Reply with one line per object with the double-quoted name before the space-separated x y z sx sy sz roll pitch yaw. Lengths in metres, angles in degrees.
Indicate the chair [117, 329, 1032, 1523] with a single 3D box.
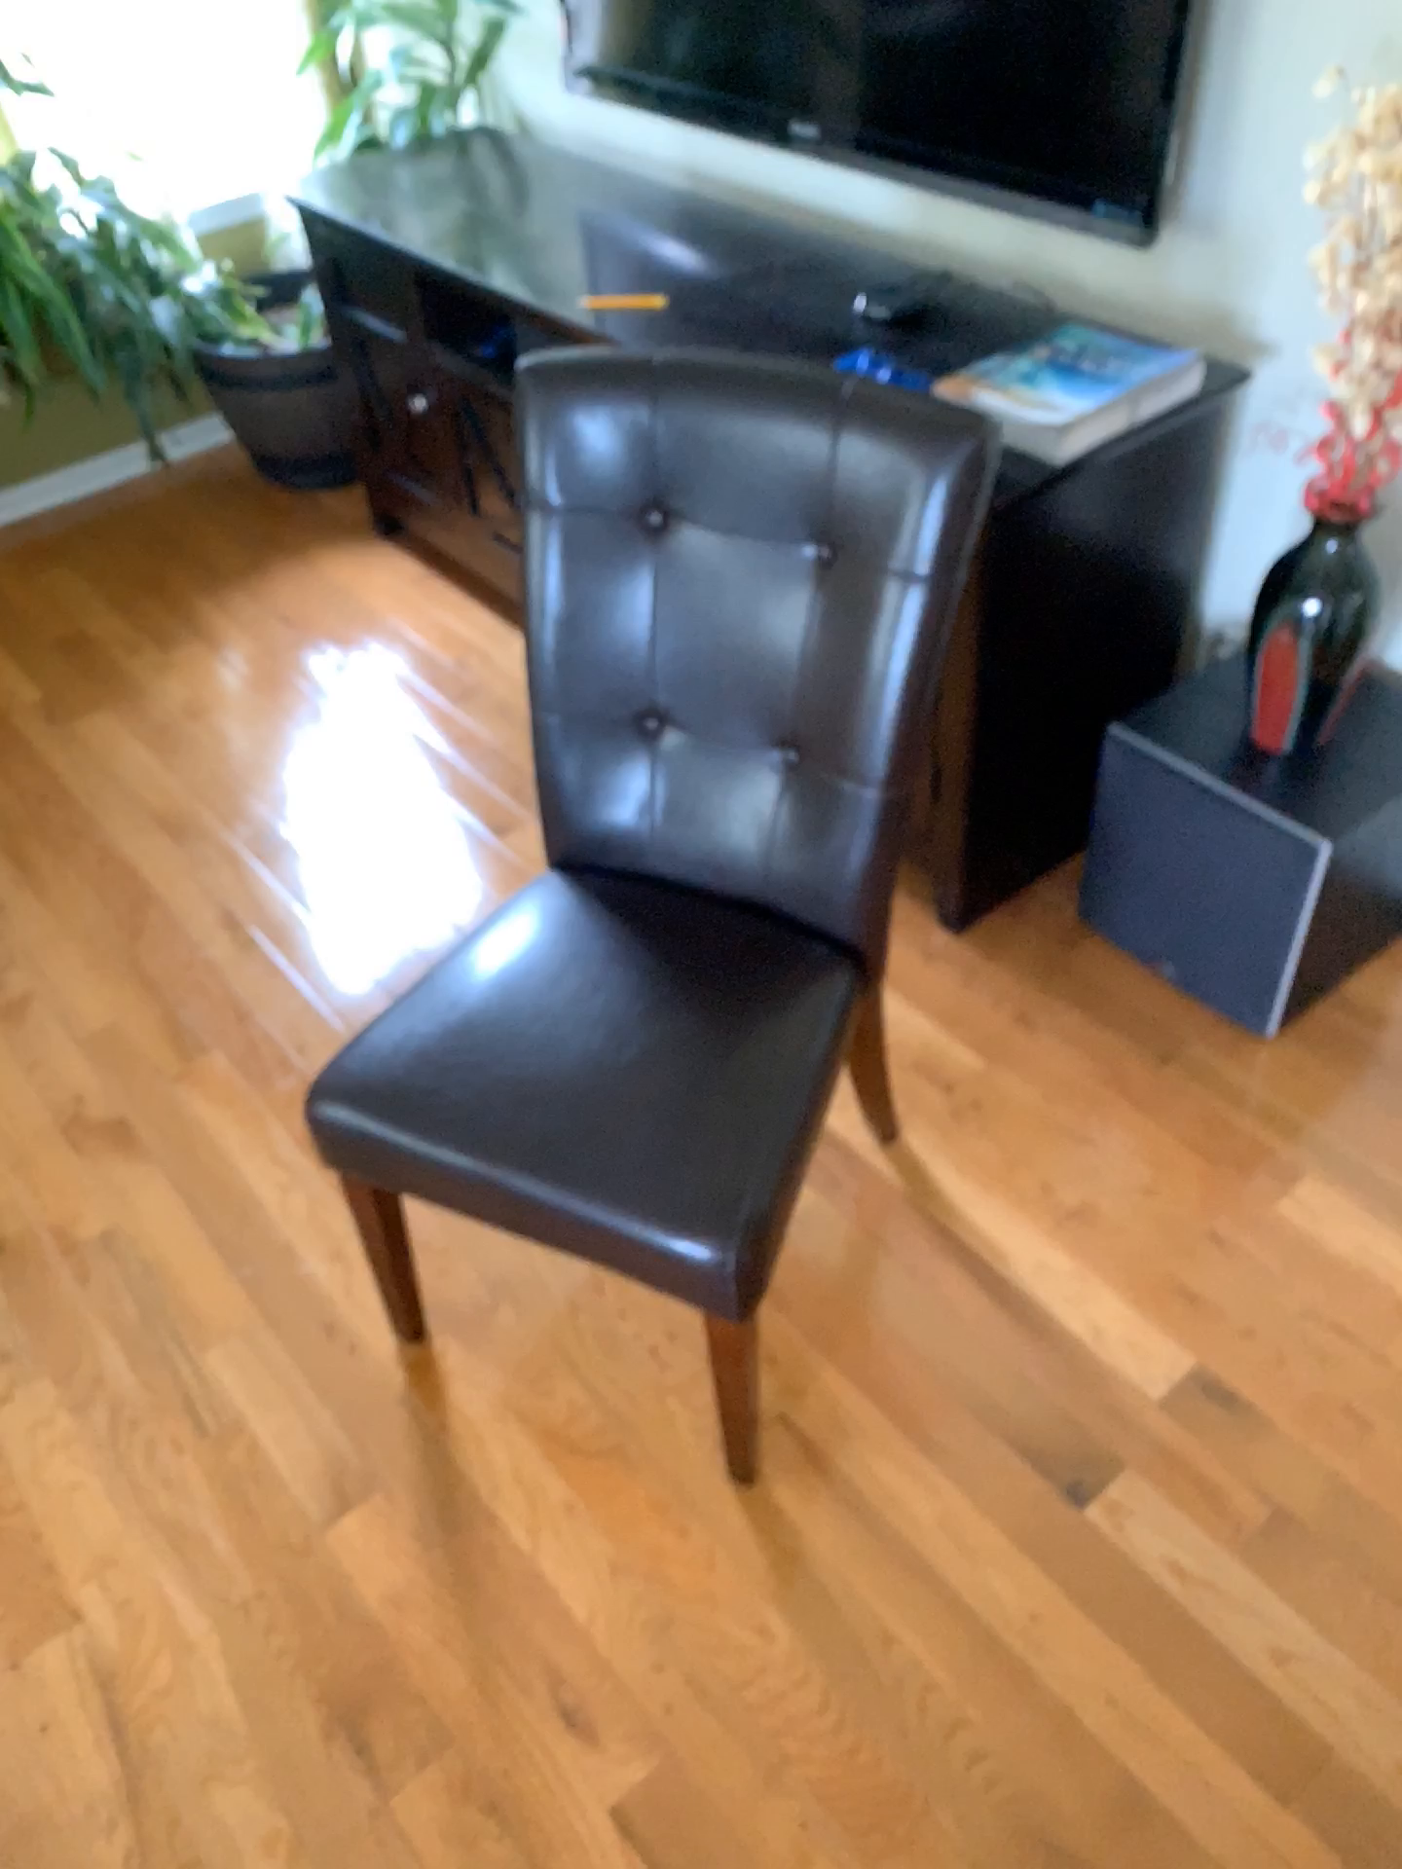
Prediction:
"chair" -0.032 -0.002 1.563 0.498 0.969 0.706 16 47 21
